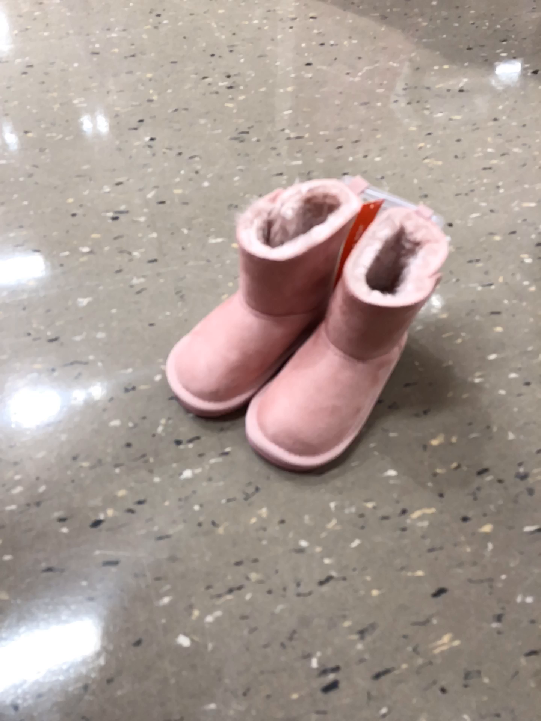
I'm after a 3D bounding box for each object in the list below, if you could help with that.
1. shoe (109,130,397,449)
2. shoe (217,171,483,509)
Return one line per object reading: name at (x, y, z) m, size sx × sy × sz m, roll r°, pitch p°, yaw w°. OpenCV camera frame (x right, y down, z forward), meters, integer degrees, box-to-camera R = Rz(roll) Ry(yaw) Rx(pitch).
shoe at (-0.010, -0.048, 0.427) m, size 0.160 × 0.150 × 0.090 m, roll -39°, pitch 67°, yaw -24°
shoe at (0.049, -0.011, 0.411) m, size 0.090 × 0.150 × 0.160 m, roll 31°, pitch 60°, yaw 16°
